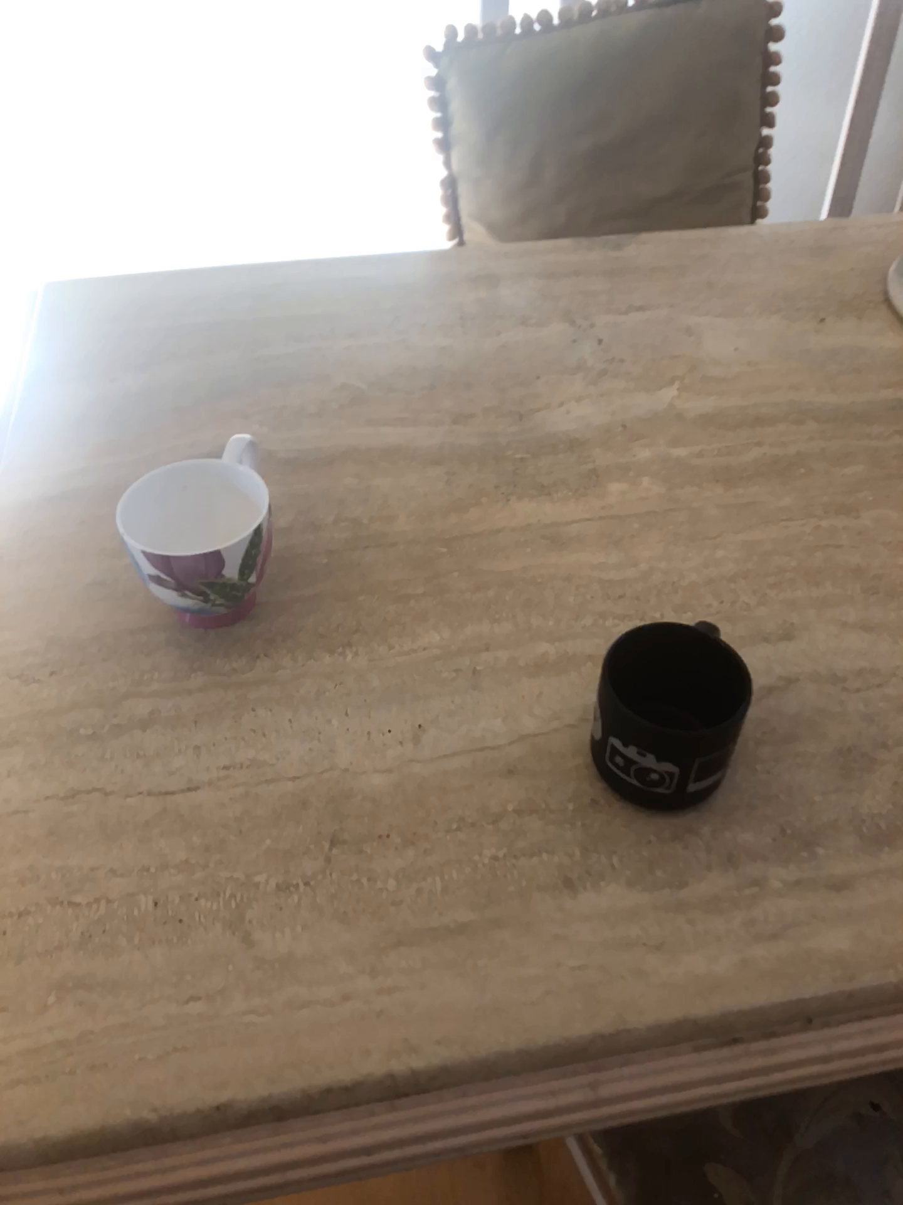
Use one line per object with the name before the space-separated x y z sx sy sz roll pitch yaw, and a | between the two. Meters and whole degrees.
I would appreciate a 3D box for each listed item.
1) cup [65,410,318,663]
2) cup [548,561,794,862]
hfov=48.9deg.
cup | -0.186 -0.054 0.746 0.110 0.089 0.161 12 46 11
cup | 0.144 0.067 0.654 0.100 0.089 0.151 22 49 20
